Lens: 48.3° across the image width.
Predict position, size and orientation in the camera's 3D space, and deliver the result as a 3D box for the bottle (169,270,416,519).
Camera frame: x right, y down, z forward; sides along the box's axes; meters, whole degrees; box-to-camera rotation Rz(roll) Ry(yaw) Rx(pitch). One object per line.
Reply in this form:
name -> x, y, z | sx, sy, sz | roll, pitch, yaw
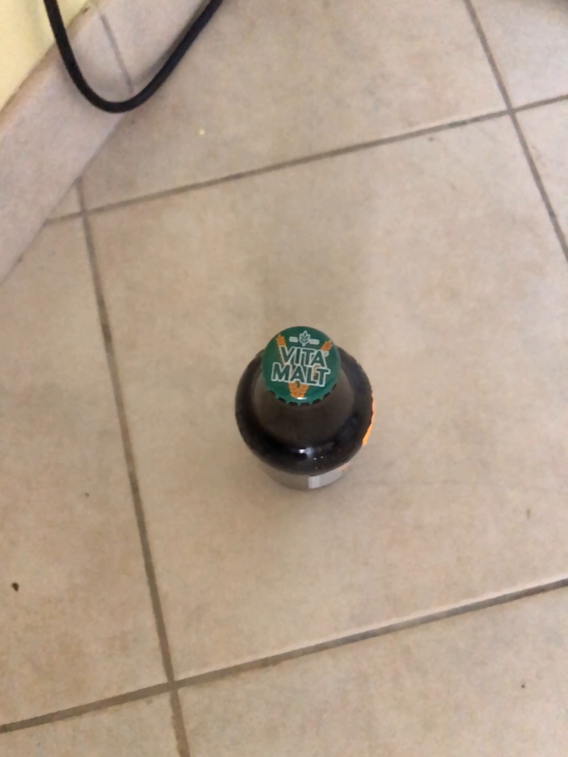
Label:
bottle -> 0.006, 0.022, 0.297 | 0.070, 0.170, 0.070 | 0, 77, 1
